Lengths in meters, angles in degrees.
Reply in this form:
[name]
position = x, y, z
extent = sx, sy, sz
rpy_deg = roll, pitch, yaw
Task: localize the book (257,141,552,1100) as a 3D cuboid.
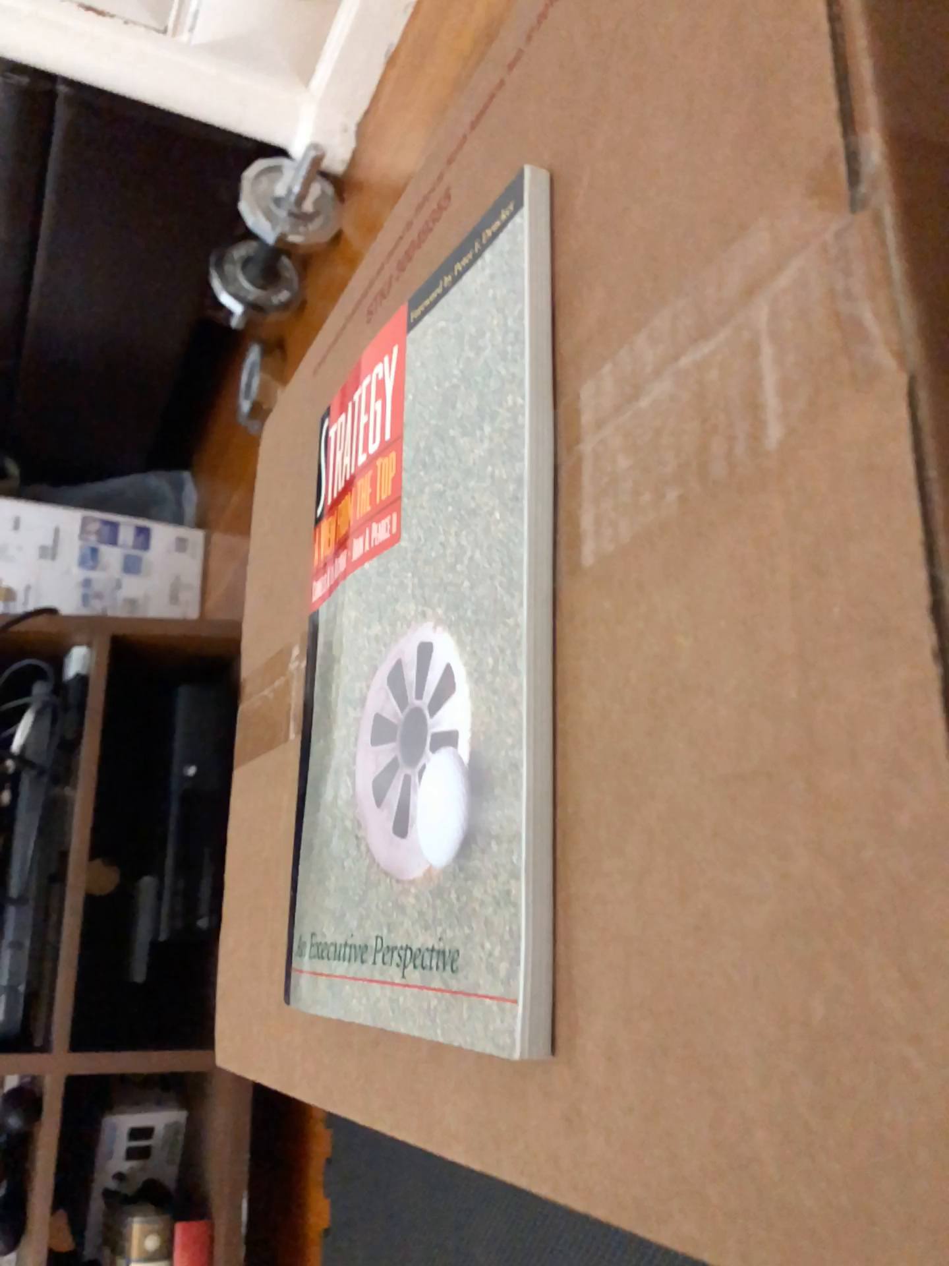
[book]
position = -0.029, 0.005, 0.336
extent = 0.181, 0.020, 0.240
rpy_deg = 152, 123, -61
